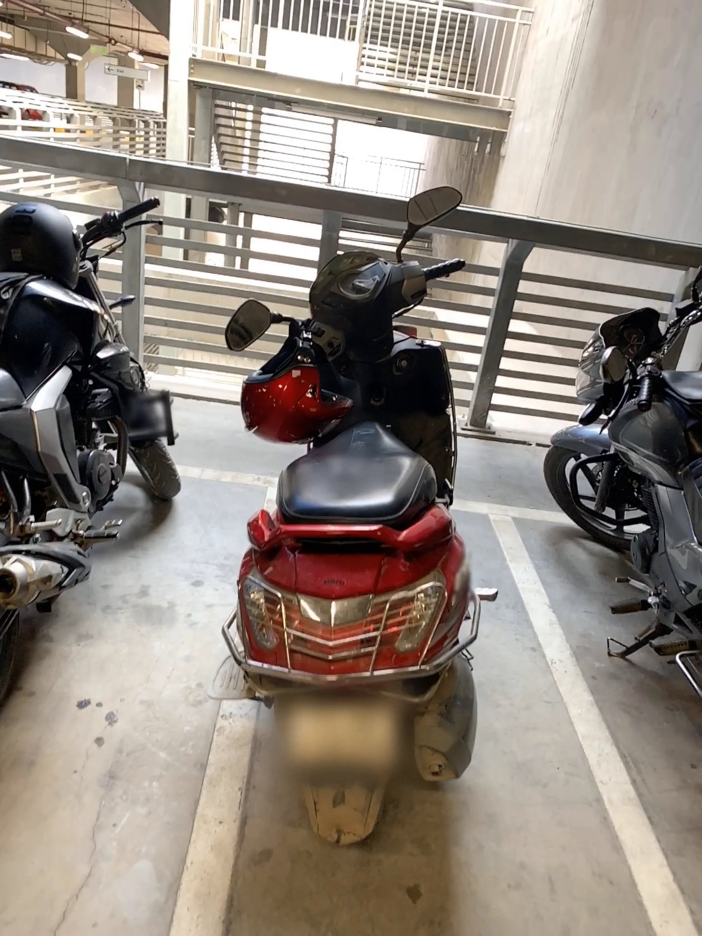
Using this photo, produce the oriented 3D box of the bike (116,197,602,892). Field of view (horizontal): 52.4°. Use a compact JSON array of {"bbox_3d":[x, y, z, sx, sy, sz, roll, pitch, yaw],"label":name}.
[{"bbox_3d":[-0.079,-0.050,2.146,0.724,1.165,1.858,7,25,-5],"label":"bike"}]
